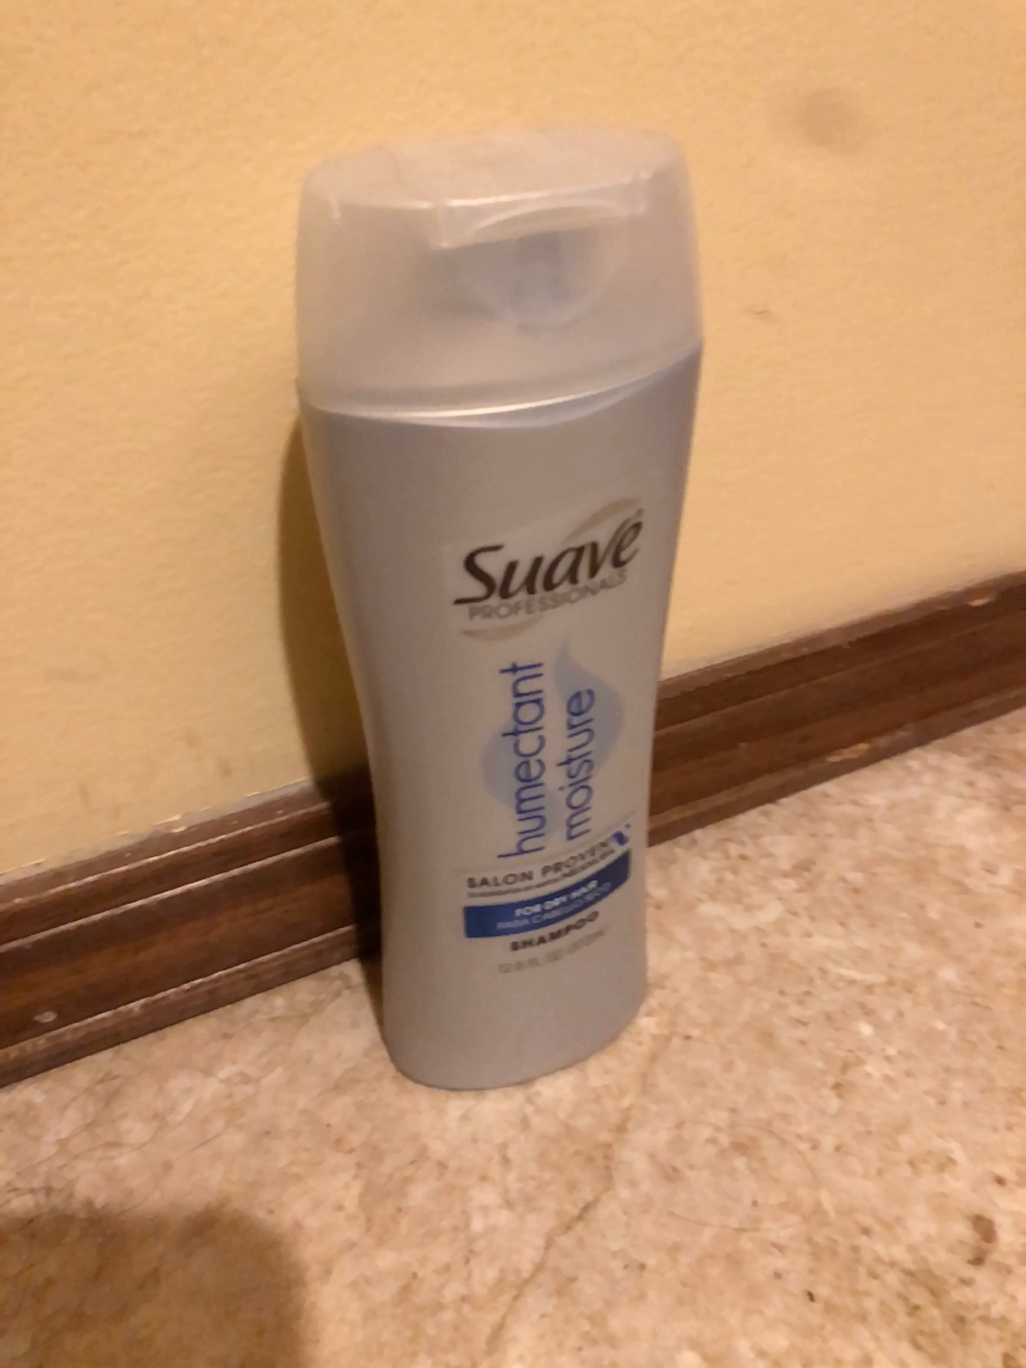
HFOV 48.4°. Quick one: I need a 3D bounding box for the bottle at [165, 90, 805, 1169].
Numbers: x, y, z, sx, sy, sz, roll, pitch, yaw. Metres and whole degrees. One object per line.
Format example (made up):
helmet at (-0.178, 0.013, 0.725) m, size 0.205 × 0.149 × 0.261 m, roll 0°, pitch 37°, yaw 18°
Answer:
bottle at (-0.004, 0.004, 0.231) m, size 0.080 × 0.209 × 0.050 m, roll -17°, pitch 41°, yaw -20°
